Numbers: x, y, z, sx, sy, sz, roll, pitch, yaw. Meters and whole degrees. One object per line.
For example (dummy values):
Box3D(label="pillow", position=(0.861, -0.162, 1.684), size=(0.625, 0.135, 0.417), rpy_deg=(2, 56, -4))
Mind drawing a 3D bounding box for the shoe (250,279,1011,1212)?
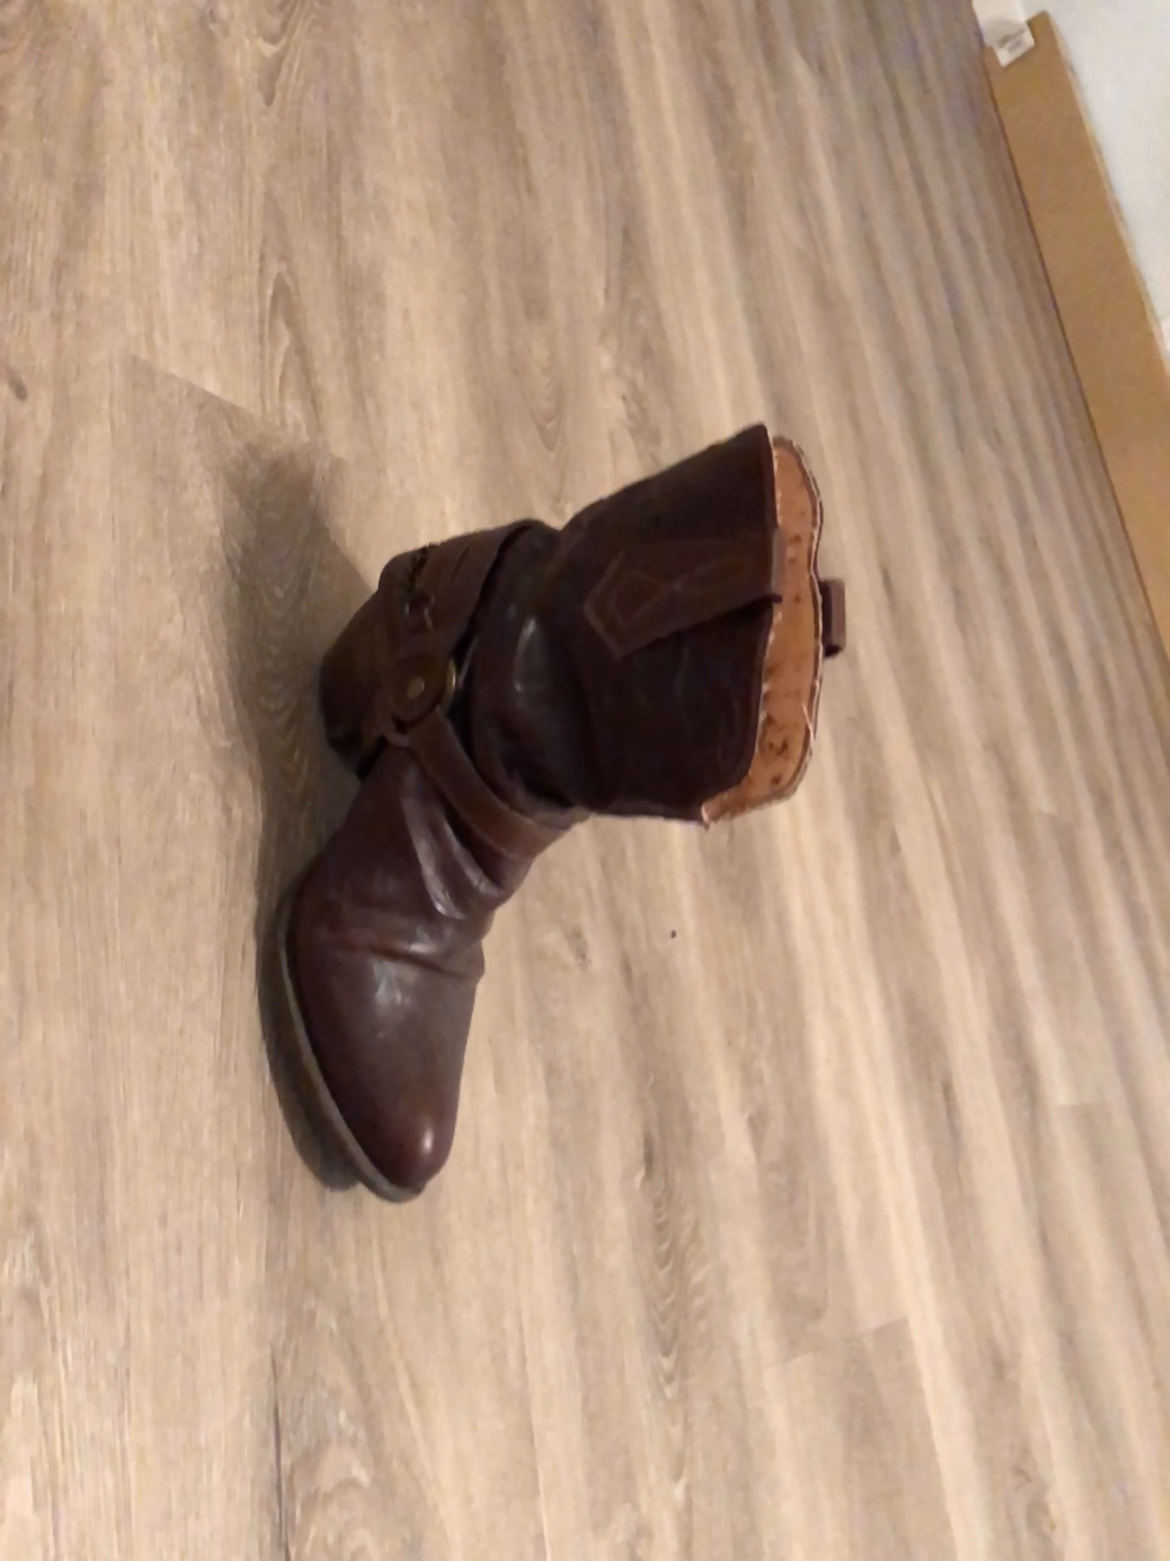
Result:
Box3D(label="shoe", position=(-0.003, 0.005, 0.436), size=(0.101, 0.209, 0.240), rpy_deg=(21, 55, -50))
